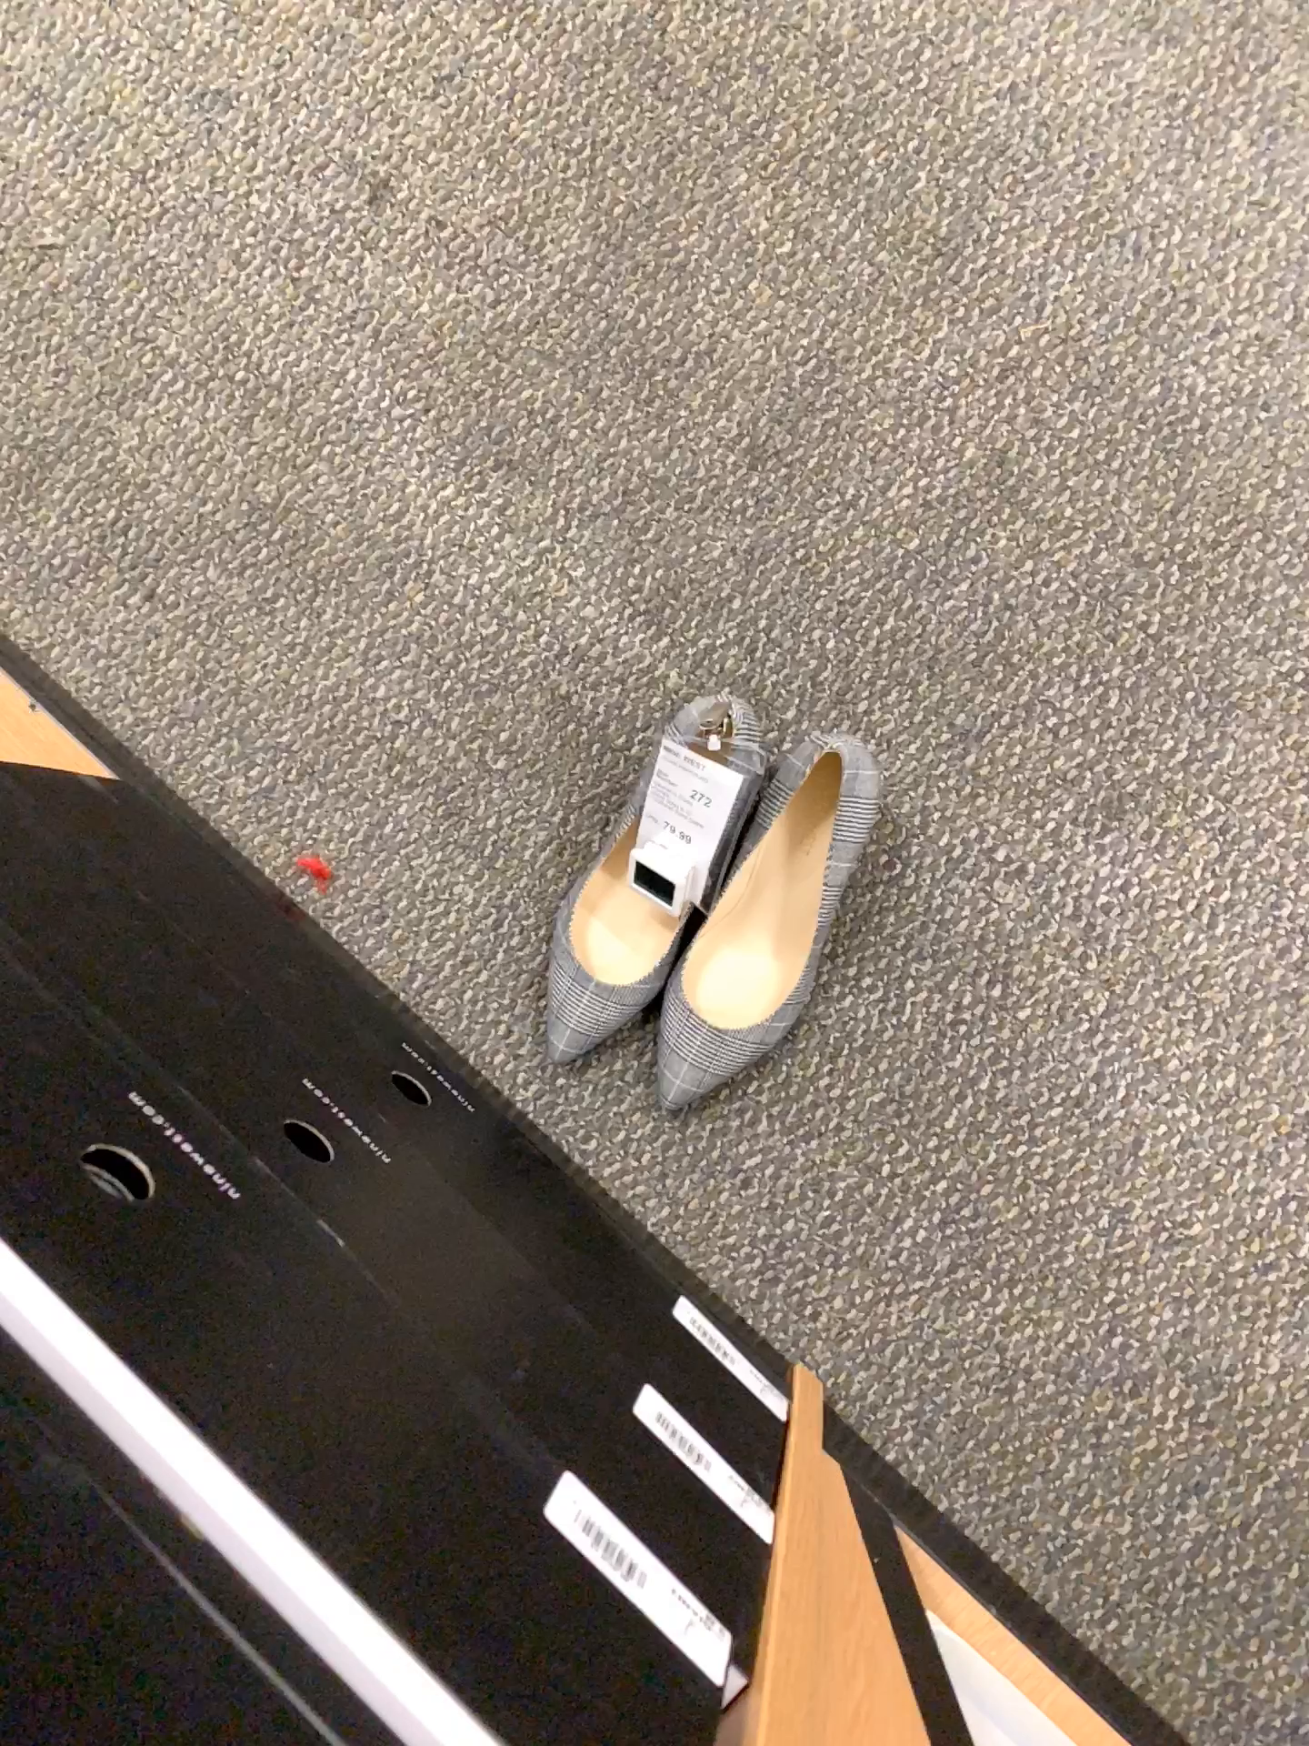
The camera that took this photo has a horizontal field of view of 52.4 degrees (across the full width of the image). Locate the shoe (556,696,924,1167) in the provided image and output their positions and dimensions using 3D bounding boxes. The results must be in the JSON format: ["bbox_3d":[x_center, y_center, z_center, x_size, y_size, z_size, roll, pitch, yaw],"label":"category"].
[{"bbox_3d":[0.054,0.033,0.765,0.090,0.150,0.230,30,92,9],"label":"shoe"}]

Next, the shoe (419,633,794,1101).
[{"bbox_3d":[-0.019,0.000,0.769,0.090,0.150,0.230,30,92,9],"label":"shoe"}]
